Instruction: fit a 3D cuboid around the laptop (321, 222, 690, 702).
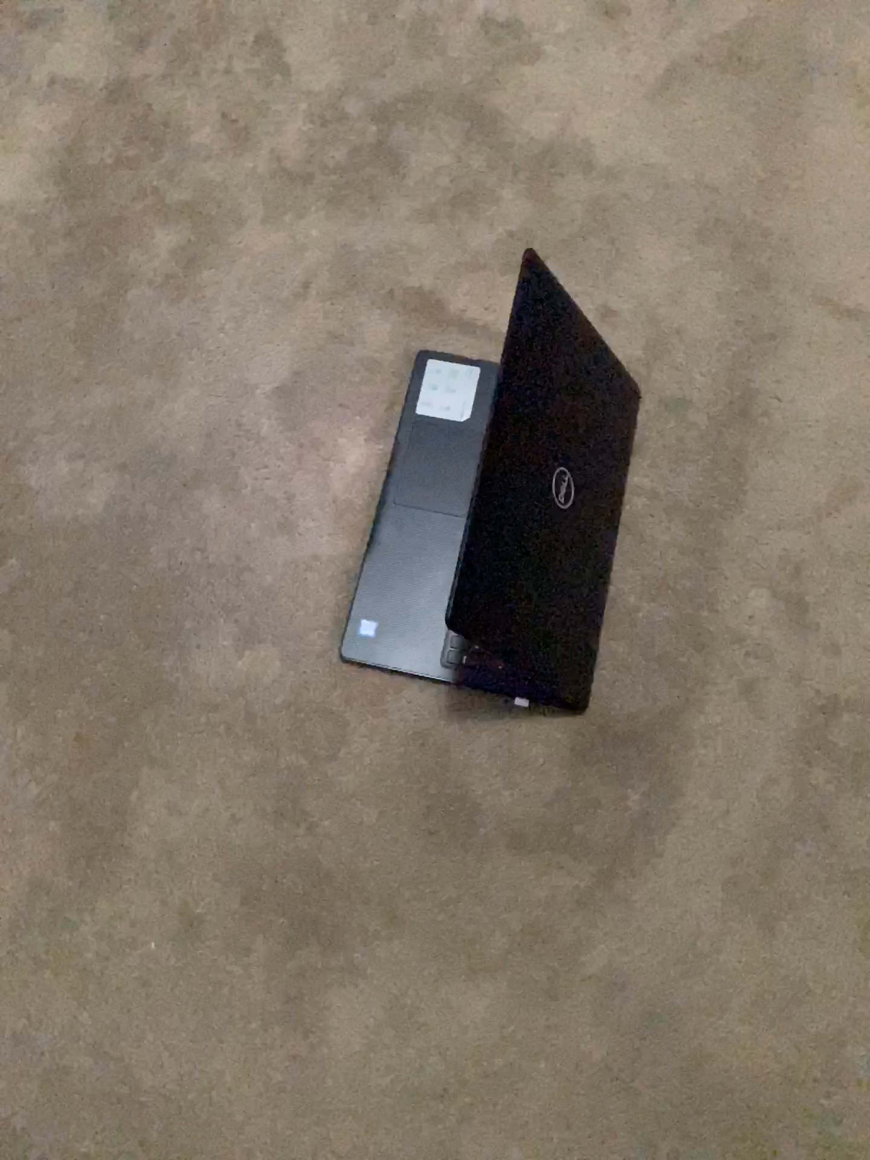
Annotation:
[{"bbox_3d":[0.070,-0.109,0.861,0.251,0.202,0.377,11,73,6],"label":"laptop"}]
